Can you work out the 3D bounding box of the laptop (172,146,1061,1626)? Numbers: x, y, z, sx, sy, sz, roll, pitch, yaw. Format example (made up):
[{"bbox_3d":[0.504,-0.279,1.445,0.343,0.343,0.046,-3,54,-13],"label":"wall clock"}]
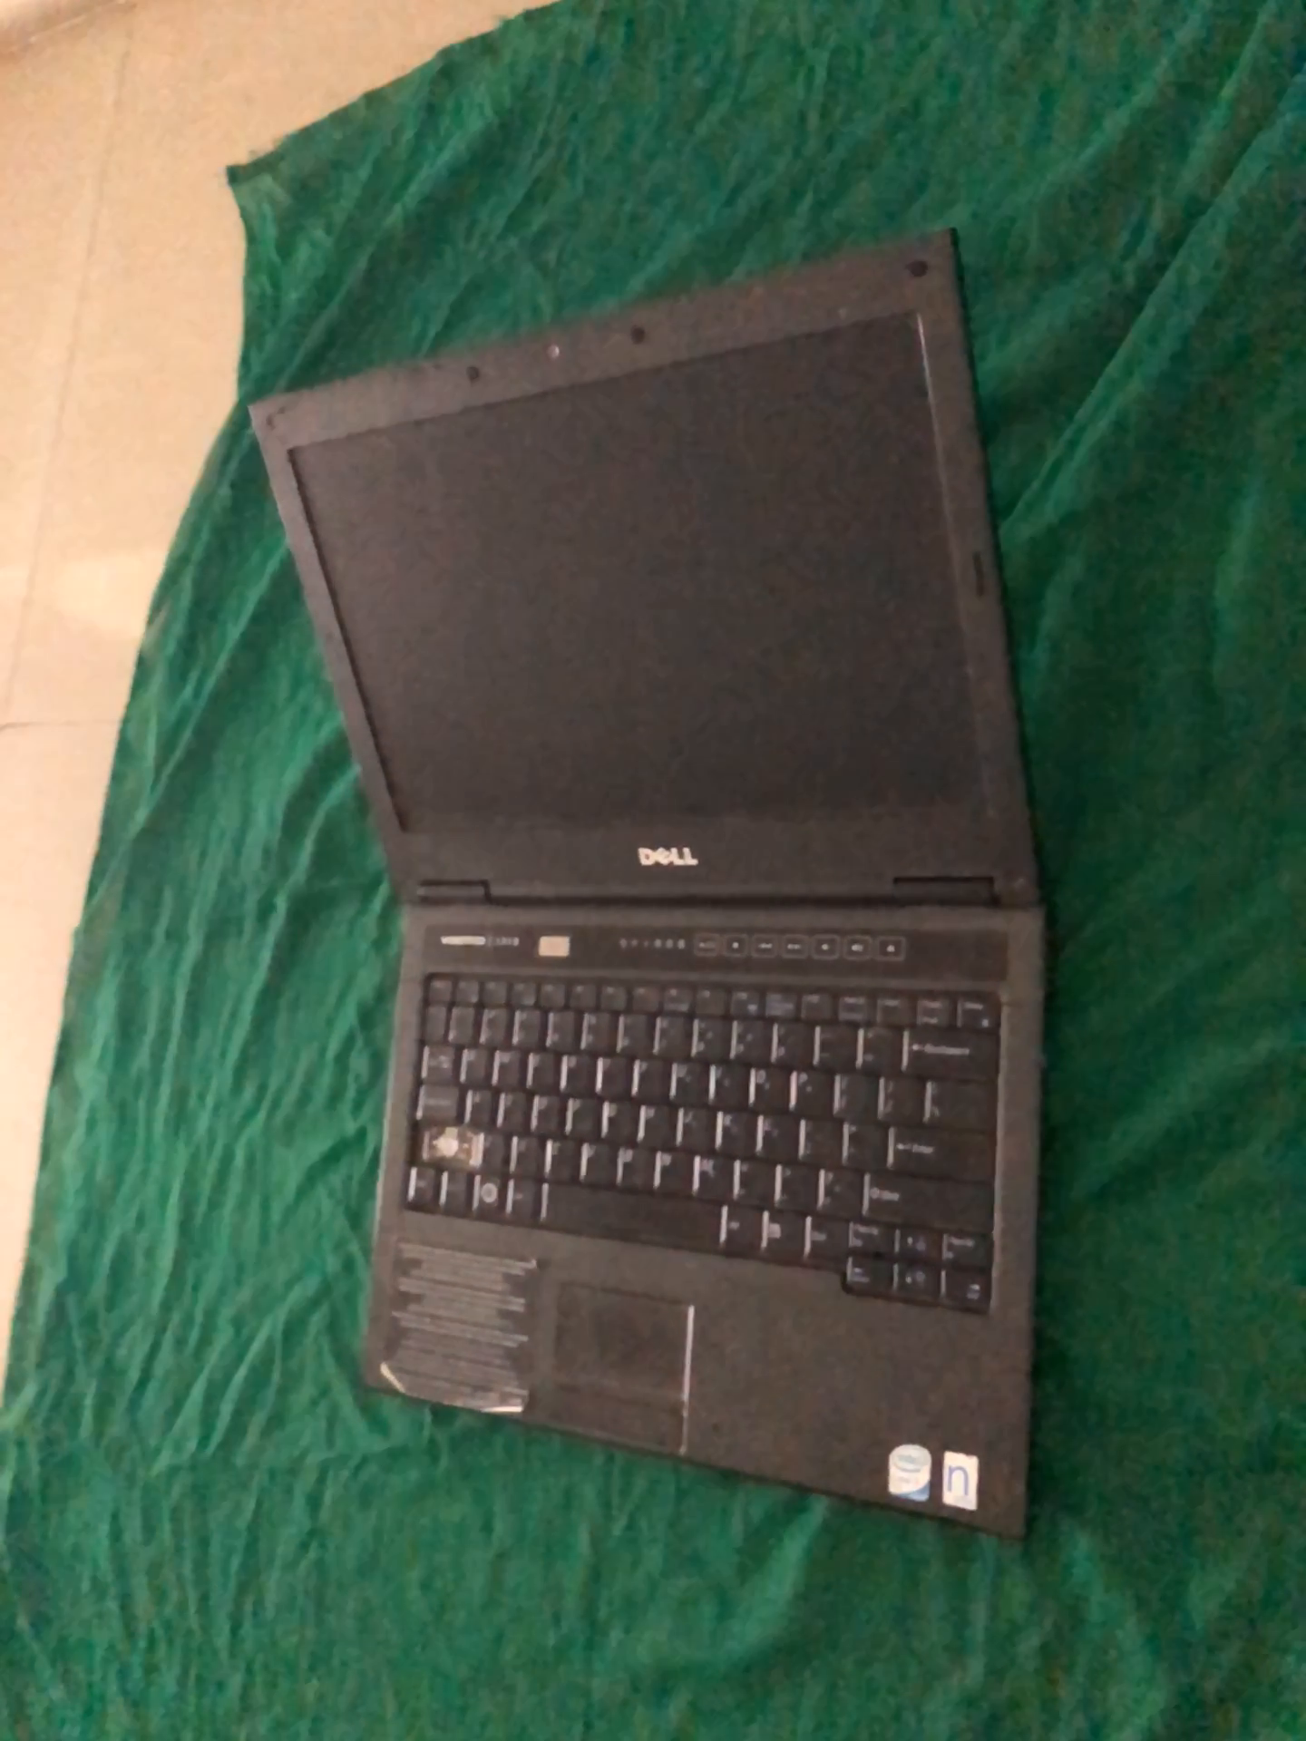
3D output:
[{"bbox_3d":[-0.020,0.012,0.565,0.314,0.126,0.438,0,85,33],"label":"laptop"}]
